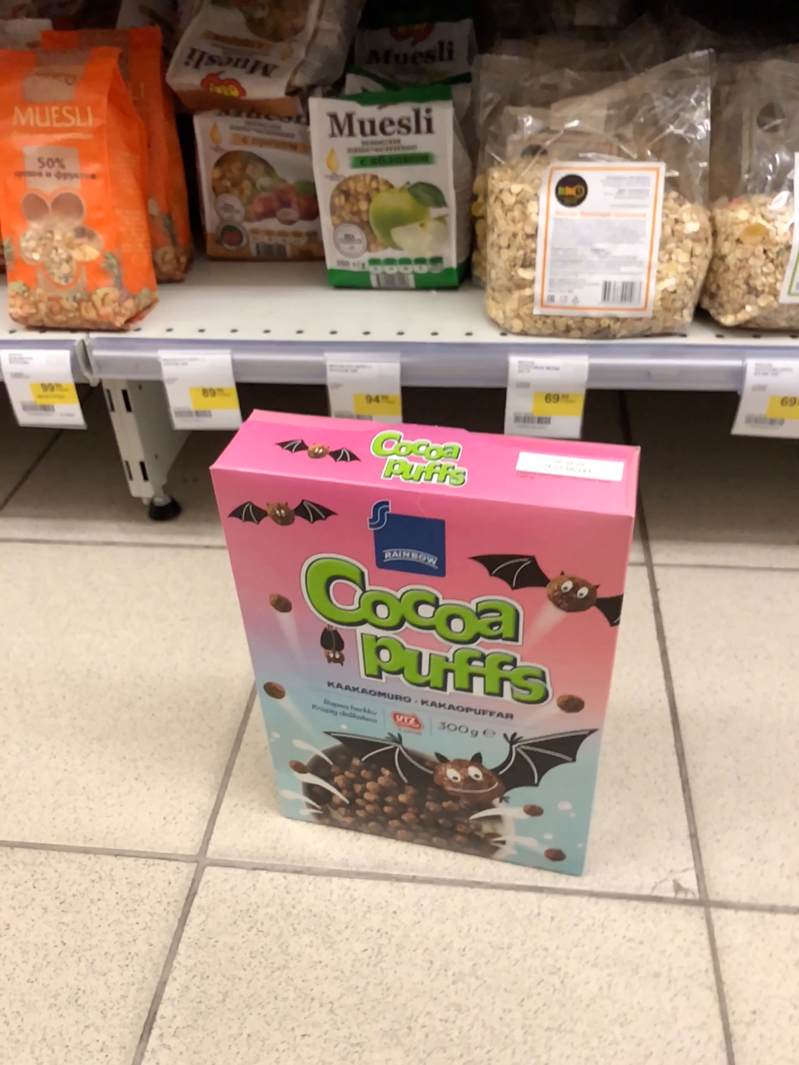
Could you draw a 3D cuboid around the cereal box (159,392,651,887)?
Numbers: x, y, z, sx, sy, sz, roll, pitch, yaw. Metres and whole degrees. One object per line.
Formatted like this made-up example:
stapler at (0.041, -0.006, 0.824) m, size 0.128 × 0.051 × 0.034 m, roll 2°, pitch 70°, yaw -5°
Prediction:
cereal box at (0.008, 0.067, 0.474) m, size 0.210 × 0.268 × 0.060 m, roll 7°, pitch 39°, yaw 13°
